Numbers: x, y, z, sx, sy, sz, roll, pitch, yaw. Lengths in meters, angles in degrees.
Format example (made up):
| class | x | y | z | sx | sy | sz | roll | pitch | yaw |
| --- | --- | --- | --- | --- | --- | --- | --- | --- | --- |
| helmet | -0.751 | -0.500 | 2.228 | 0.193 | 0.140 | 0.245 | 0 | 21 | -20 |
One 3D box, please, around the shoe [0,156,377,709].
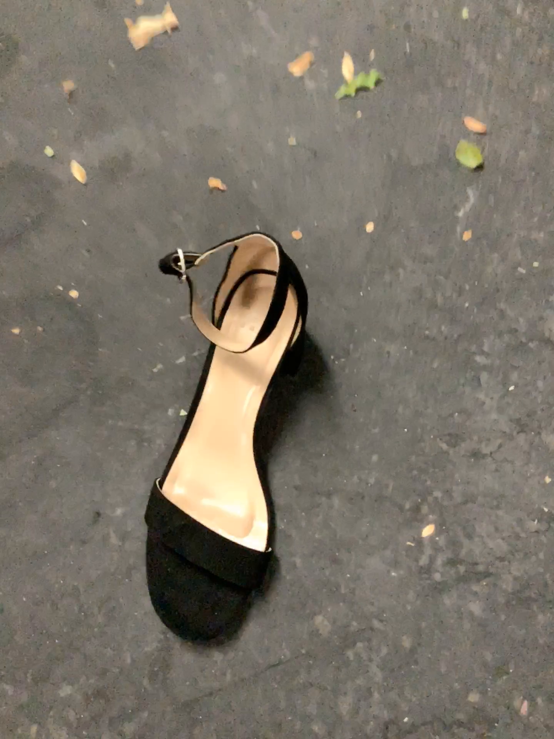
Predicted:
| class | x | y | z | sx | sy | sz | roll | pitch | yaw |
| --- | --- | --- | --- | --- | --- | --- | --- | --- | --- |
| shoe | -0.039 | 0.034 | 0.380 | 0.120 | 0.140 | 0.270 | 16 | 69 | 5 |
